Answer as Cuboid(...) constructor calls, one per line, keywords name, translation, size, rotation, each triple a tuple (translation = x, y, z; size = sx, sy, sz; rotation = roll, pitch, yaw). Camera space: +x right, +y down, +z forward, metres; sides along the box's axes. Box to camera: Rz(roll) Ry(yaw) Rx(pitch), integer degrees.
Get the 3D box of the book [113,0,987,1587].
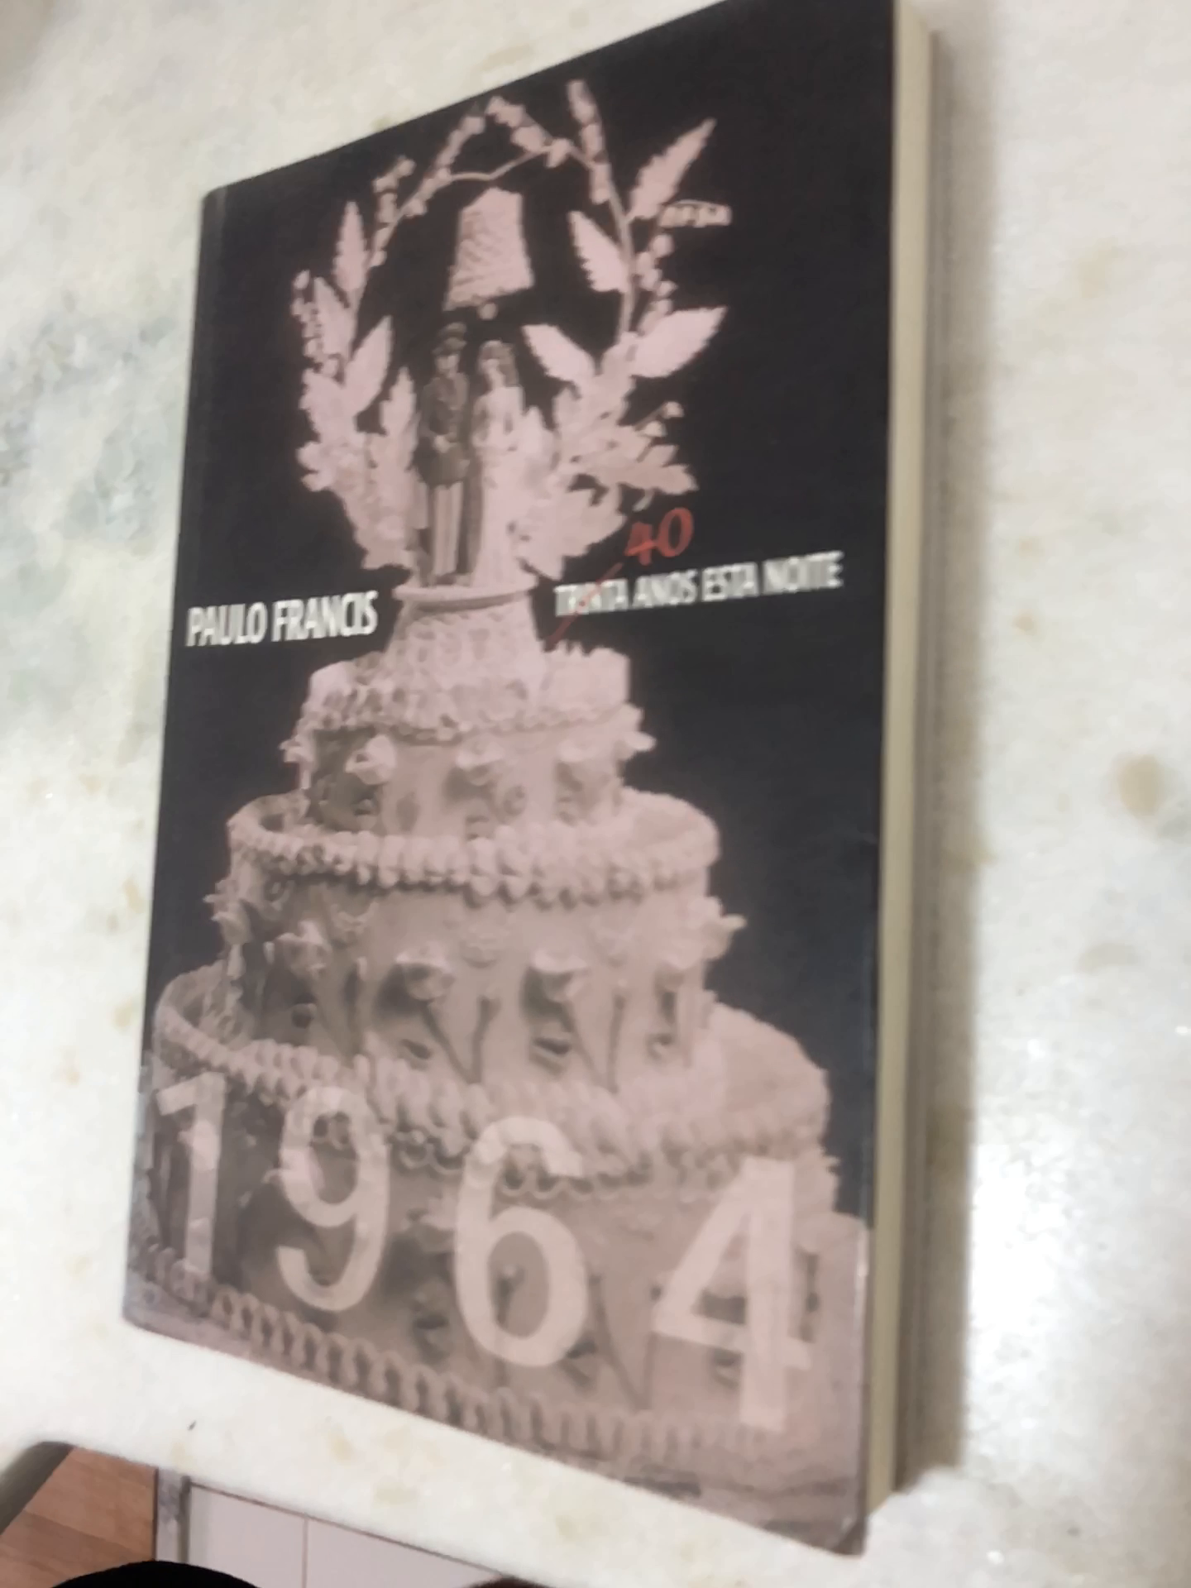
Cuboid(name="book", translation=(-0.015, -0.008, 0.202), size=(0.140, 0.020, 0.203), rotation=(-1, 85, 33))
